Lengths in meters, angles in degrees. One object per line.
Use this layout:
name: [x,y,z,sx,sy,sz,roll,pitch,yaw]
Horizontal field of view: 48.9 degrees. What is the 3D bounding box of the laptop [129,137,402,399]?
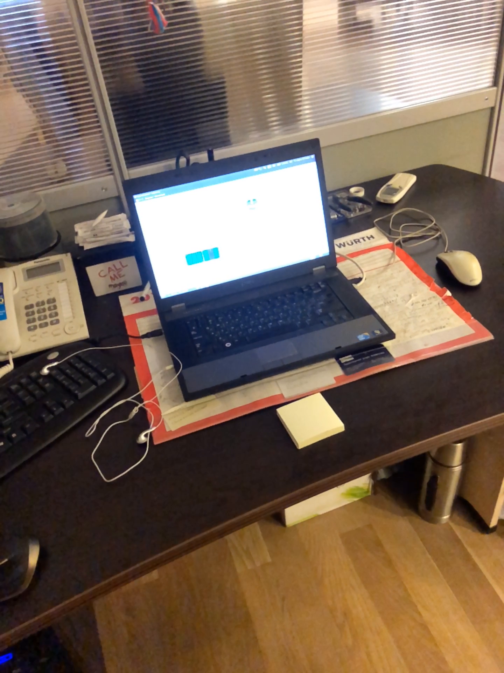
laptop: [0.013,-0.115,0.822,0.317,0.209,0.257,-17,40,-10]
